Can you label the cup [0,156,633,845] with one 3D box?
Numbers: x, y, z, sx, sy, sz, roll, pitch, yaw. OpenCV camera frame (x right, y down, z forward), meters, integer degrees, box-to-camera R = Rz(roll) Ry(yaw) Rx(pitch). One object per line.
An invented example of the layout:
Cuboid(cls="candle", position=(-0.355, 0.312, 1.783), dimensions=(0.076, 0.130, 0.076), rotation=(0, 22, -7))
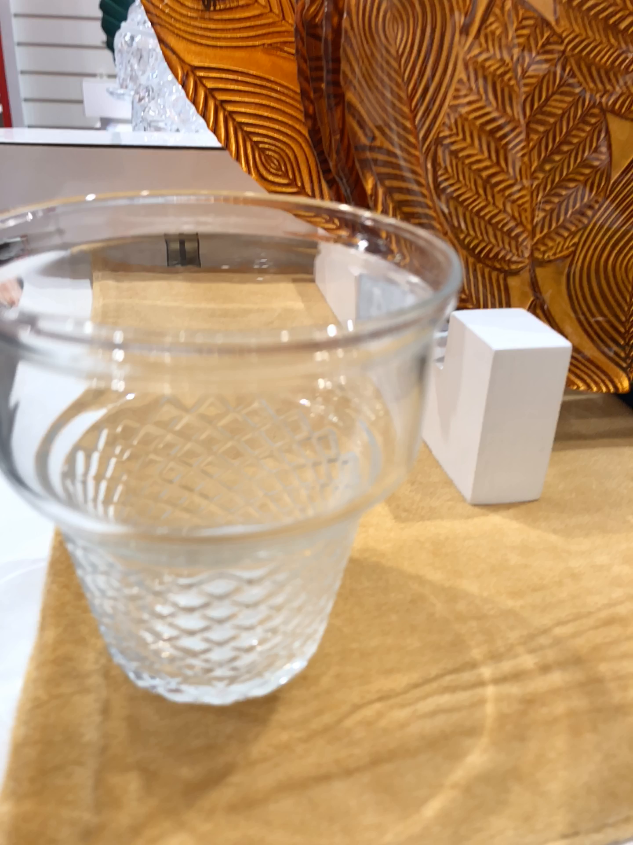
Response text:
Cuboid(cls="cup", position=(-0.006, 0.001, 0.110), dimensions=(0.080, 0.070, 0.080), rotation=(2, 27, -1))
